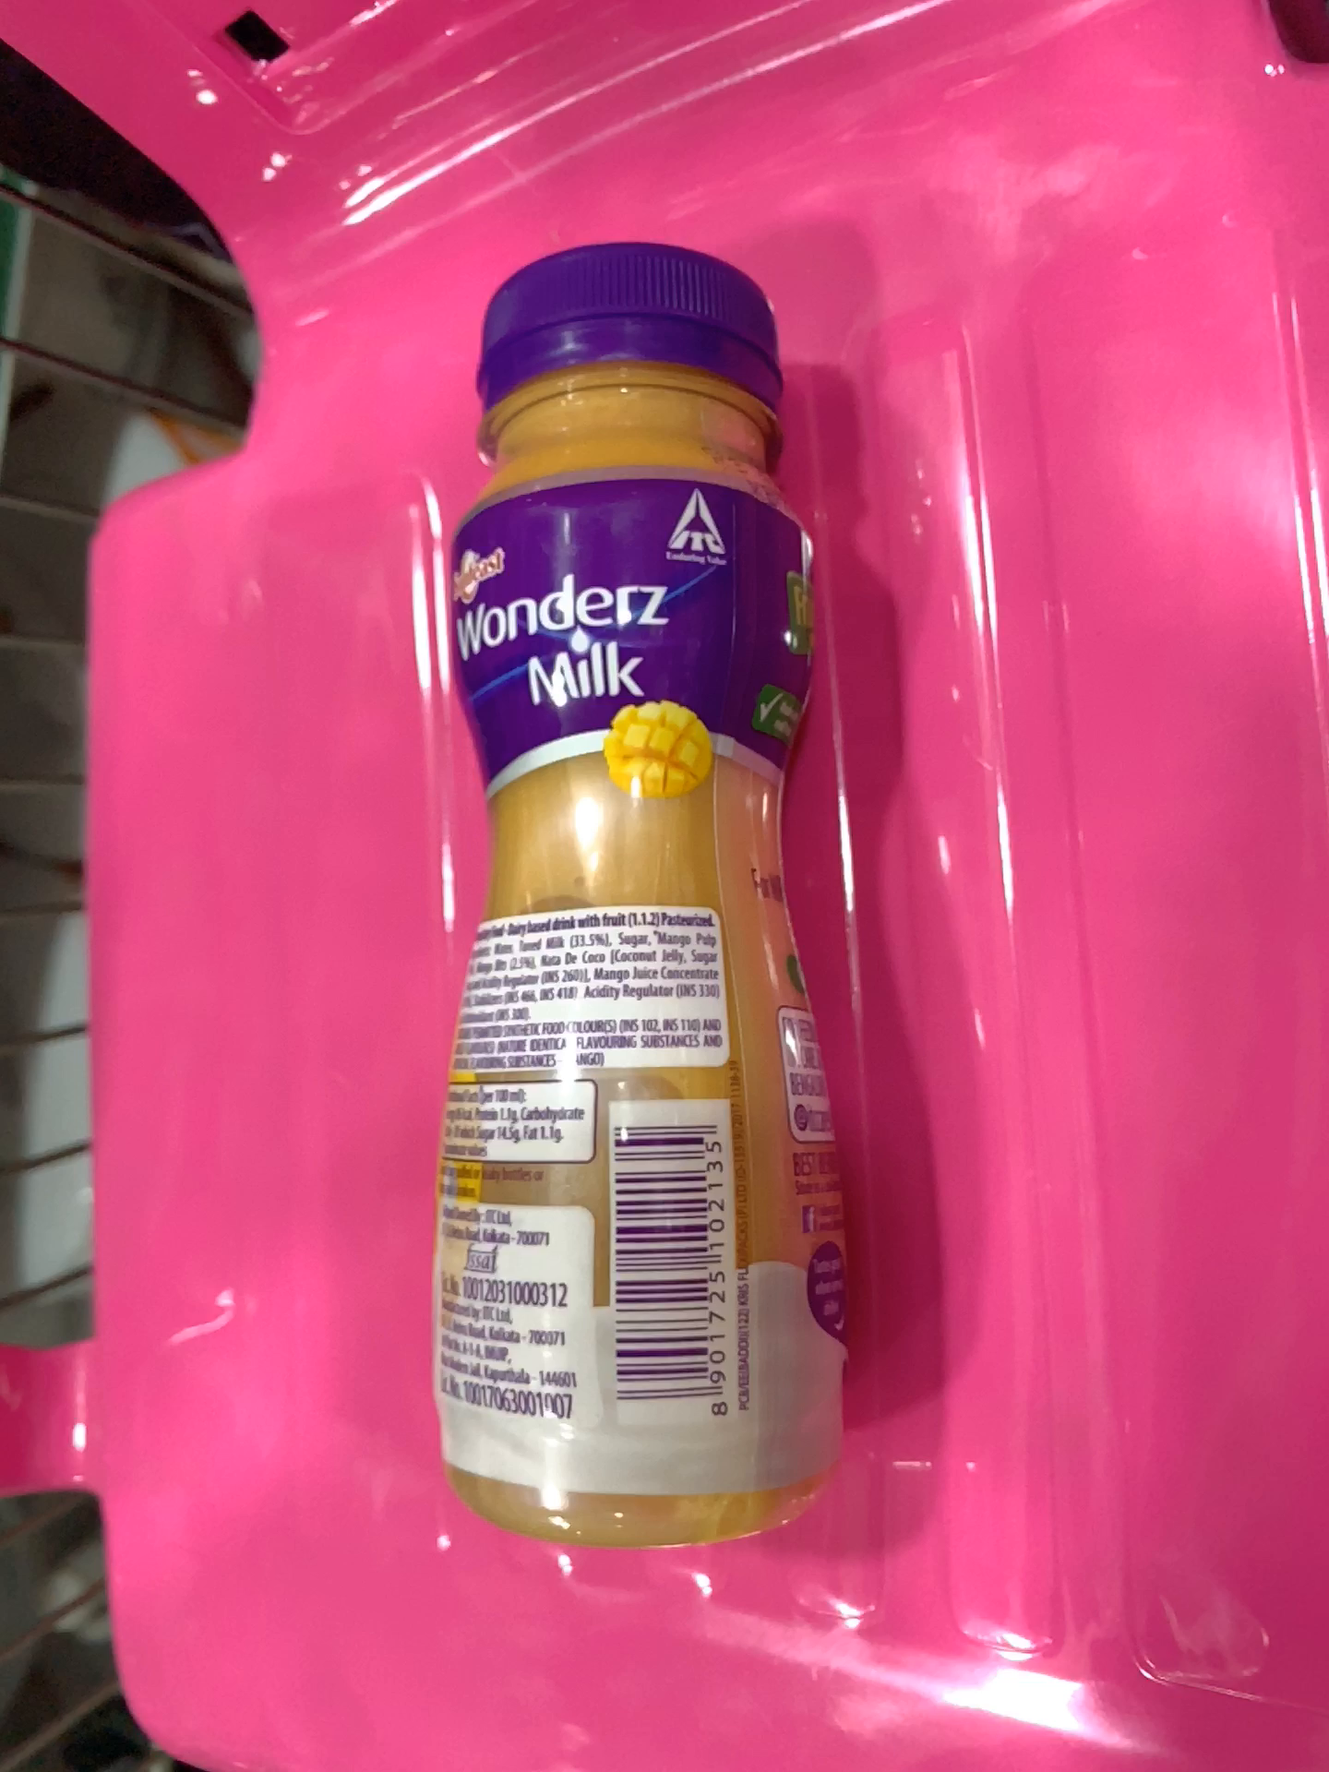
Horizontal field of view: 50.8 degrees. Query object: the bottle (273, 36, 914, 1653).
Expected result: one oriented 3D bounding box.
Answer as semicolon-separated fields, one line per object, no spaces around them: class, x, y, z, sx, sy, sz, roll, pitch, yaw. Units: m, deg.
bottle;-0.008;-0.004;0.172;0.050;0.050;0.160;-6;85;31
